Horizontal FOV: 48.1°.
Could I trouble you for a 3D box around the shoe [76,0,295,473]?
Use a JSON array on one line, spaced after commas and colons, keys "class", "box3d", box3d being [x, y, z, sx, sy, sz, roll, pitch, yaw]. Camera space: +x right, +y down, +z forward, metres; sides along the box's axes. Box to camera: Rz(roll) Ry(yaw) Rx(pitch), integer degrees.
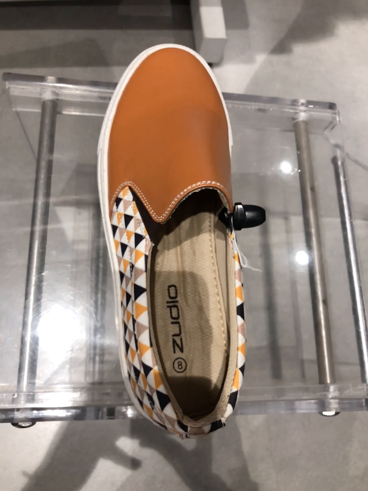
[{"class": "shoe", "box3d": [-0.011, -0.019, 0.291, 0.110, 0.100, 0.290, 0, 74, -9]}]
